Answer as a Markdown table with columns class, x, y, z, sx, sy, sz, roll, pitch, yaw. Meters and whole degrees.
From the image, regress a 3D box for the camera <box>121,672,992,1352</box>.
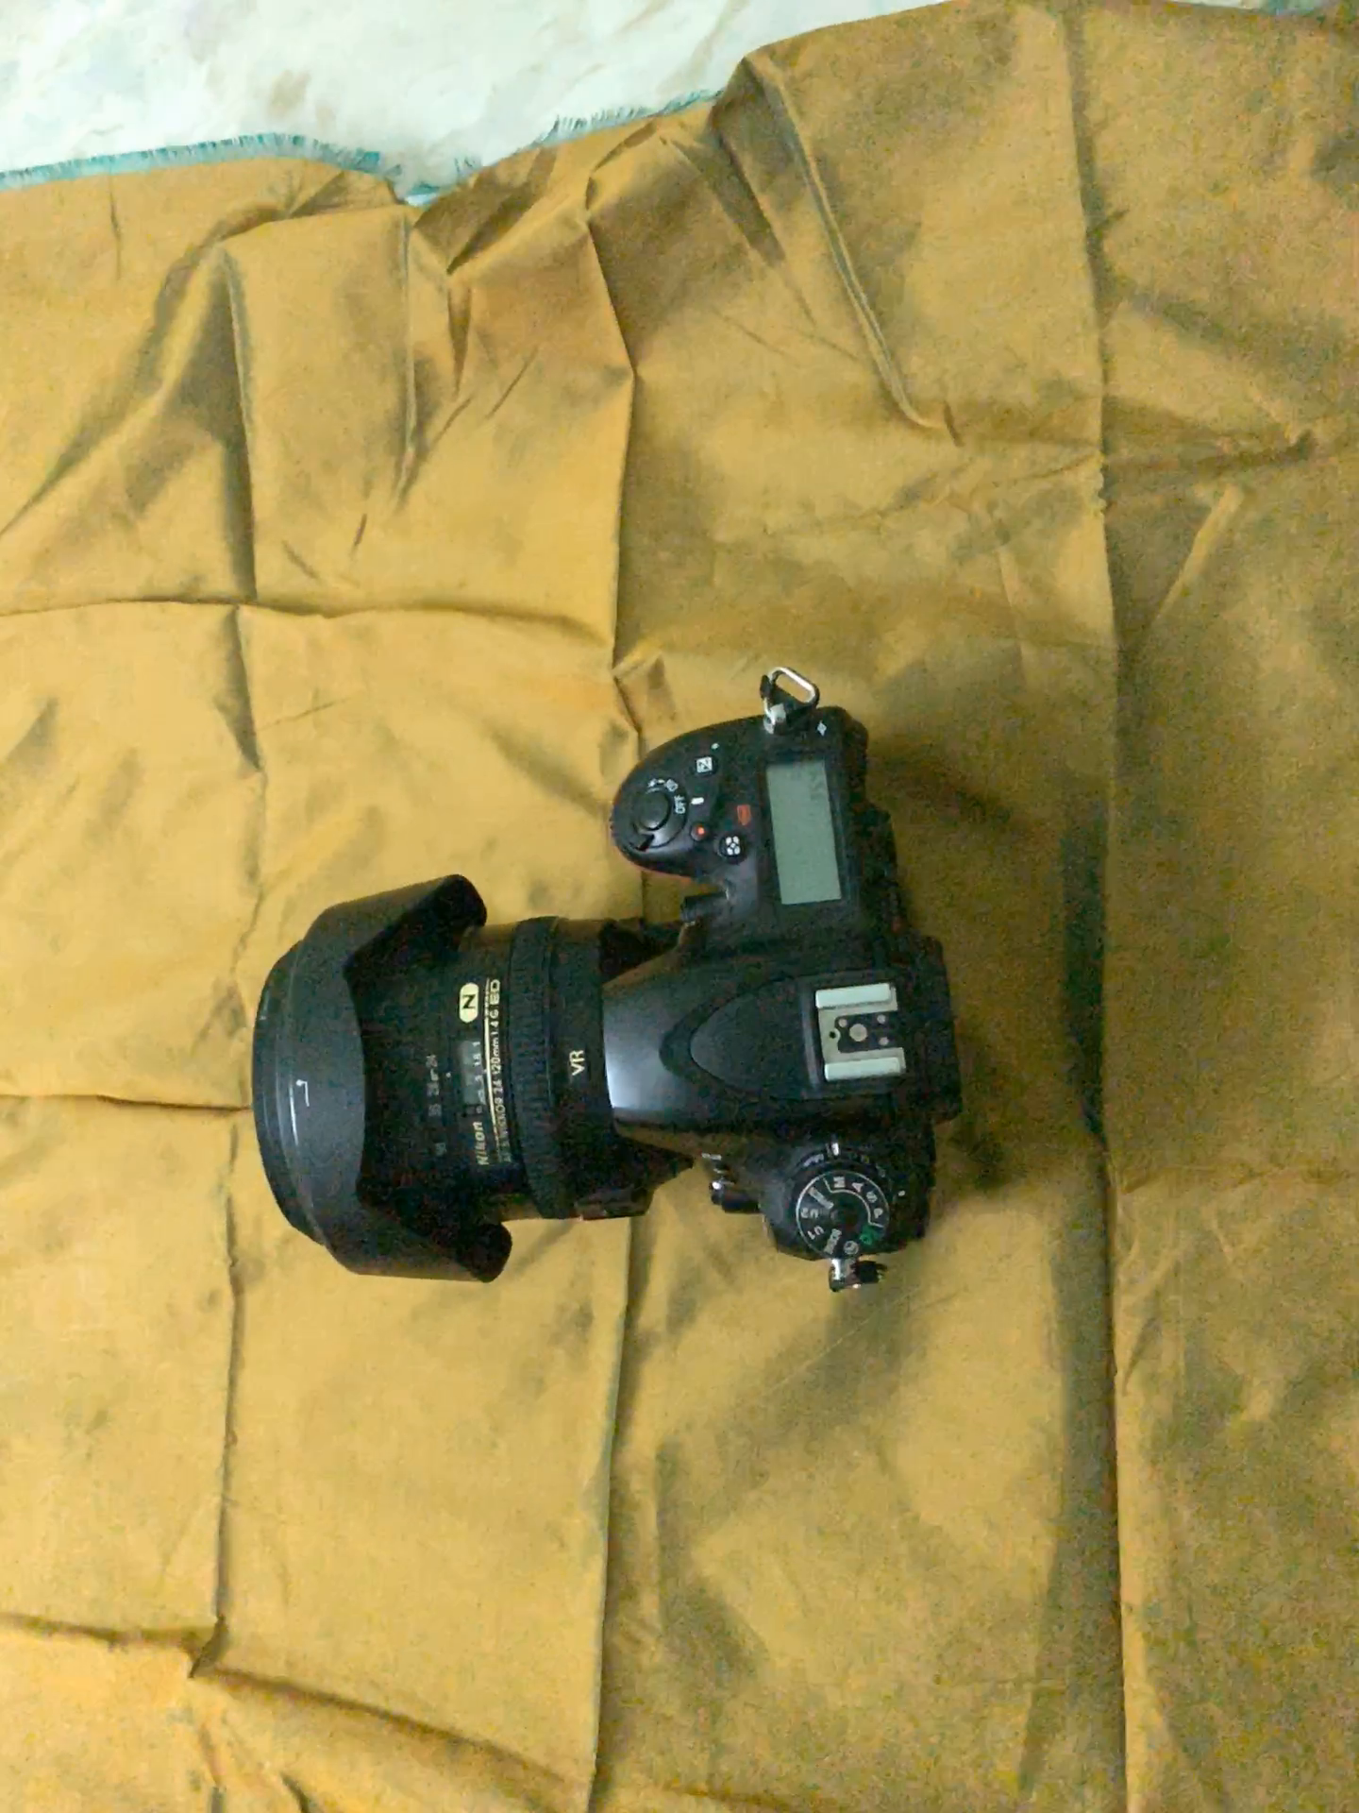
| class | x | y | z | sx | sy | sz | roll | pitch | yaw |
| --- | --- | --- | --- | --- | --- | --- | --- | --- | --- |
| camera | -0.028 | 0.030 | 0.363 | 0.193 | 0.100 | 0.140 | -4 | 83 | 7 |
